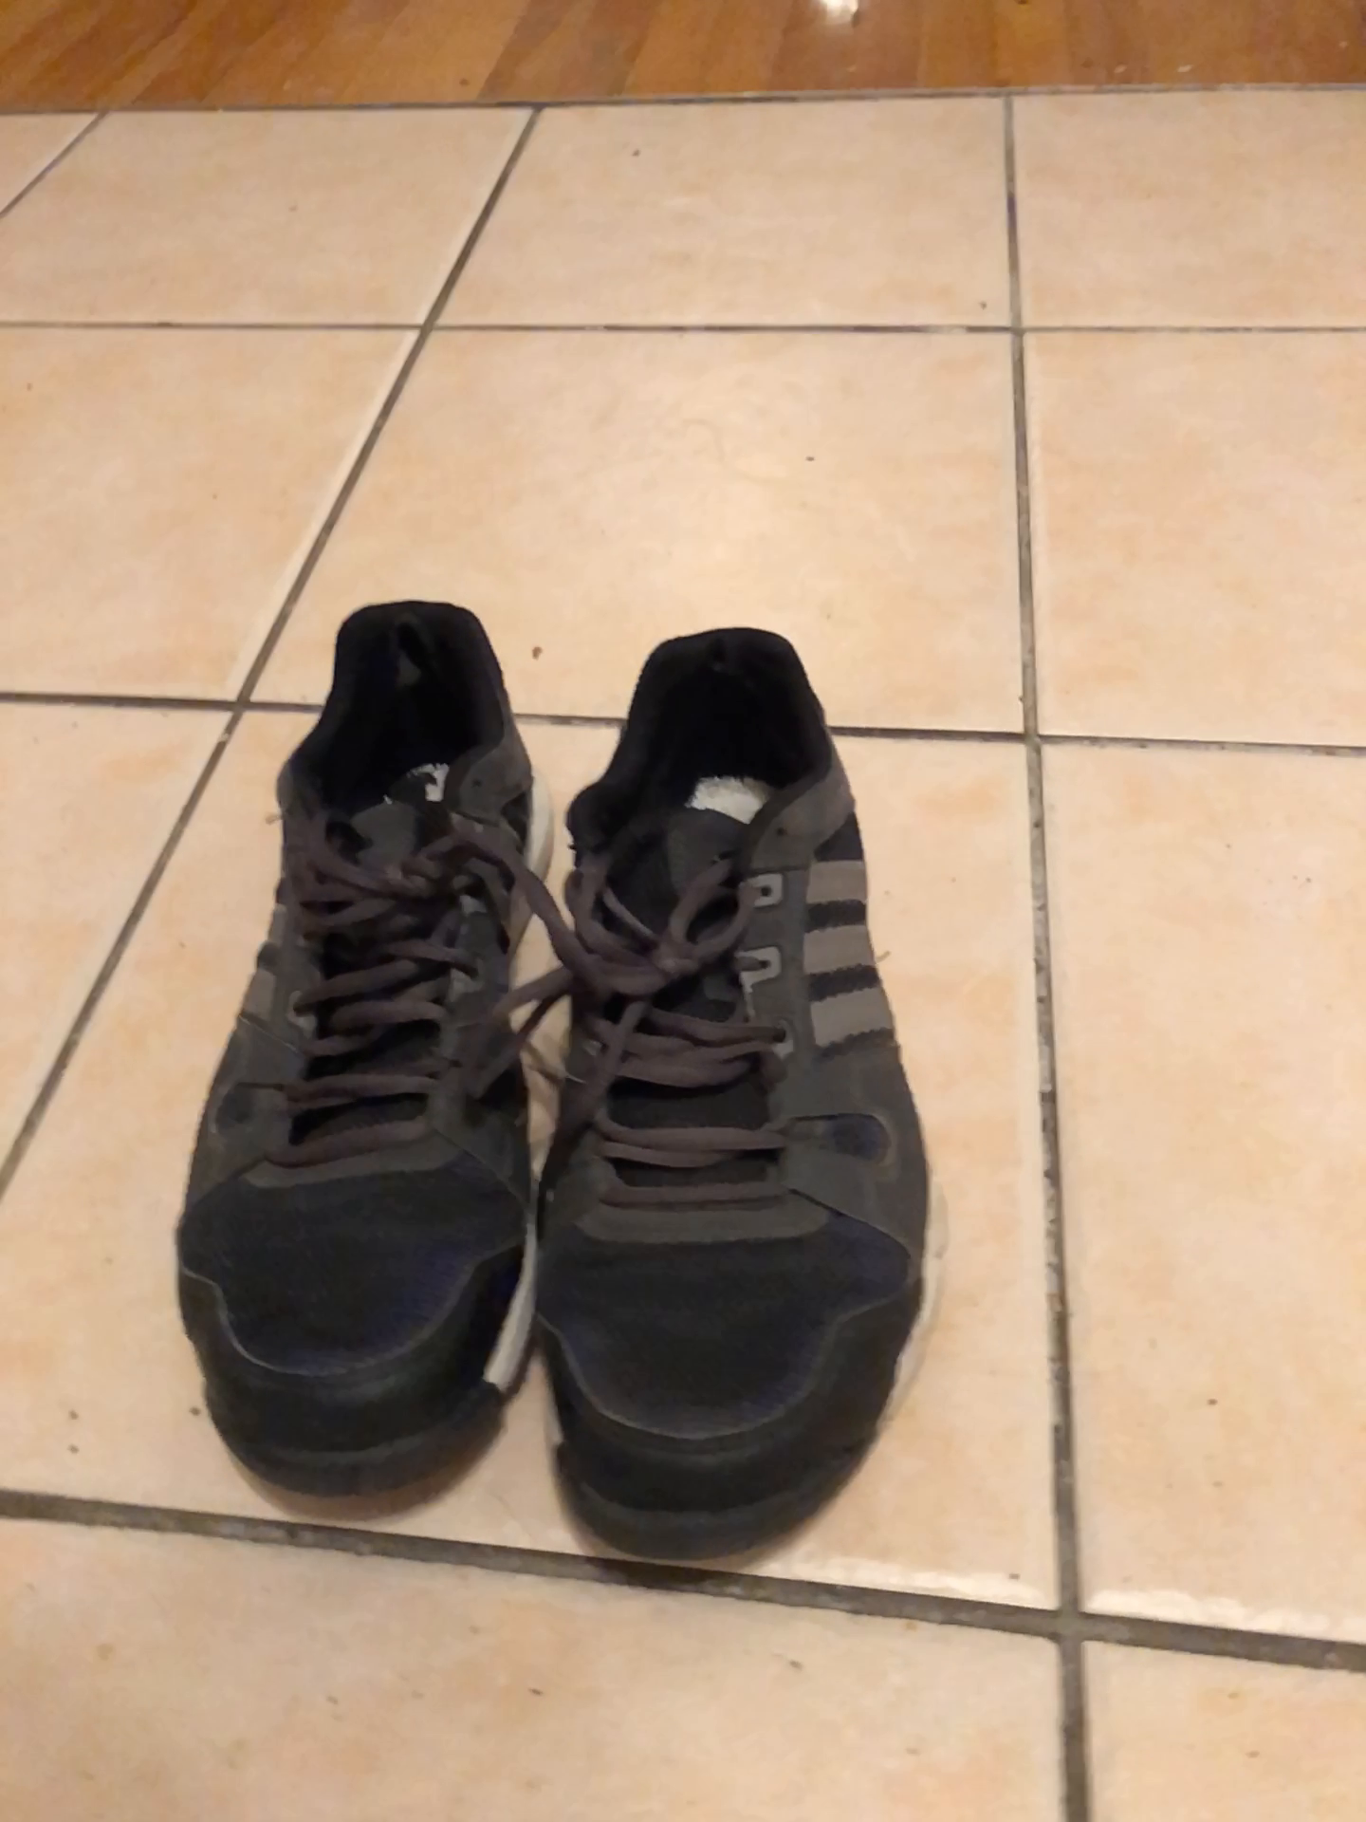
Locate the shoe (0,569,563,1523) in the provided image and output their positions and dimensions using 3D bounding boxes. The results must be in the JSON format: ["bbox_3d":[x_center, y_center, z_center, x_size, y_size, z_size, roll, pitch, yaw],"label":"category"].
[{"bbox_3d":[-0.103,0.021,0.452,0.110,0.099,0.282,1,47,0],"label":"shoe"}]

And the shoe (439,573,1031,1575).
[{"bbox_3d":[0.013,0.028,0.438,0.120,0.099,0.282,-2,47,3],"label":"shoe"}]
